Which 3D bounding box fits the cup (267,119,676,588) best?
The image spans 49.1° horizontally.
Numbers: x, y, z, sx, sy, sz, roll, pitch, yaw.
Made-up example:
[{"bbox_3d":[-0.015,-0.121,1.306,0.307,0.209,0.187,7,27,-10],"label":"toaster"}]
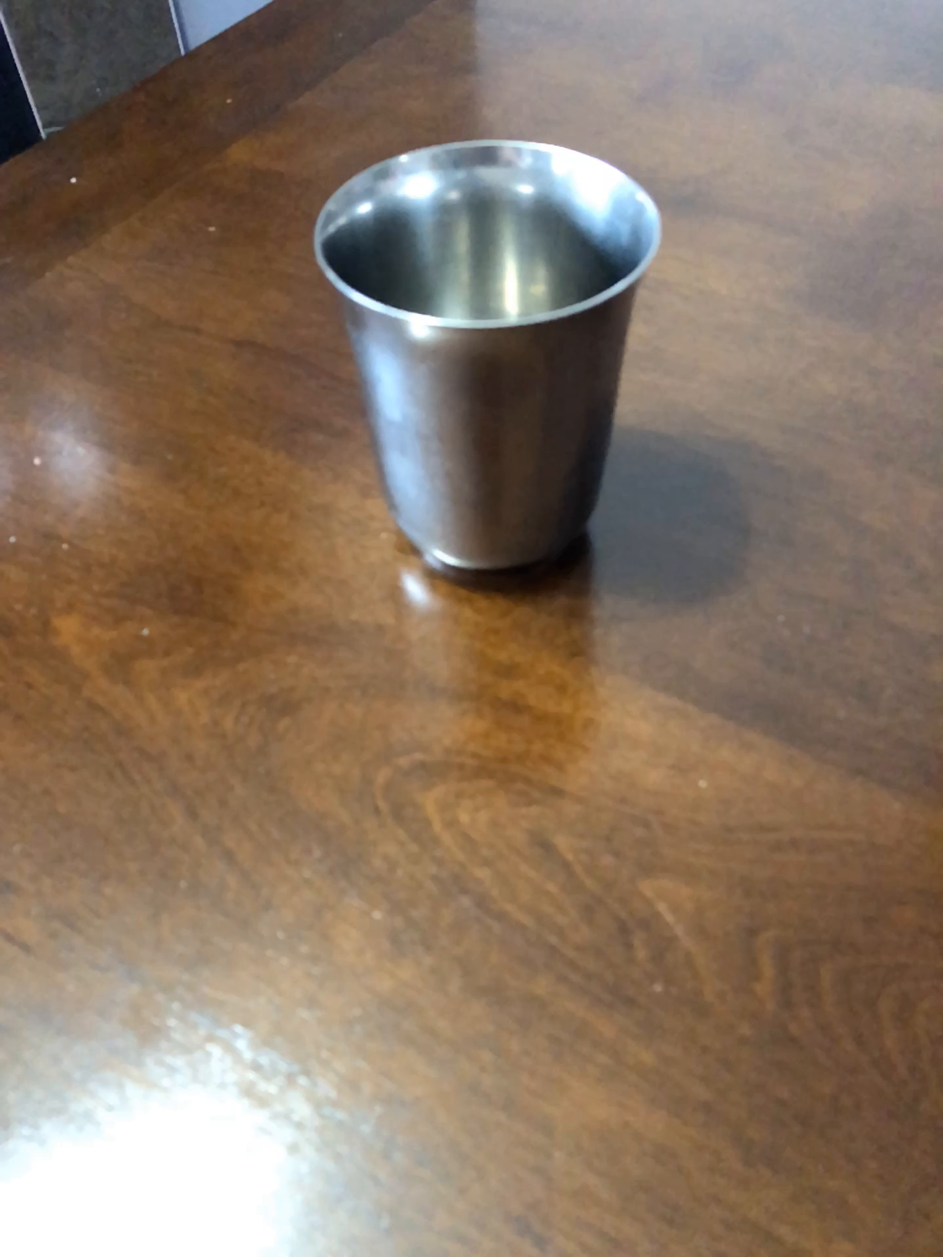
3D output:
[{"bbox_3d":[0.005,-0.072,0.269,0.080,0.080,0.080,-1,51,2],"label":"cup"}]
